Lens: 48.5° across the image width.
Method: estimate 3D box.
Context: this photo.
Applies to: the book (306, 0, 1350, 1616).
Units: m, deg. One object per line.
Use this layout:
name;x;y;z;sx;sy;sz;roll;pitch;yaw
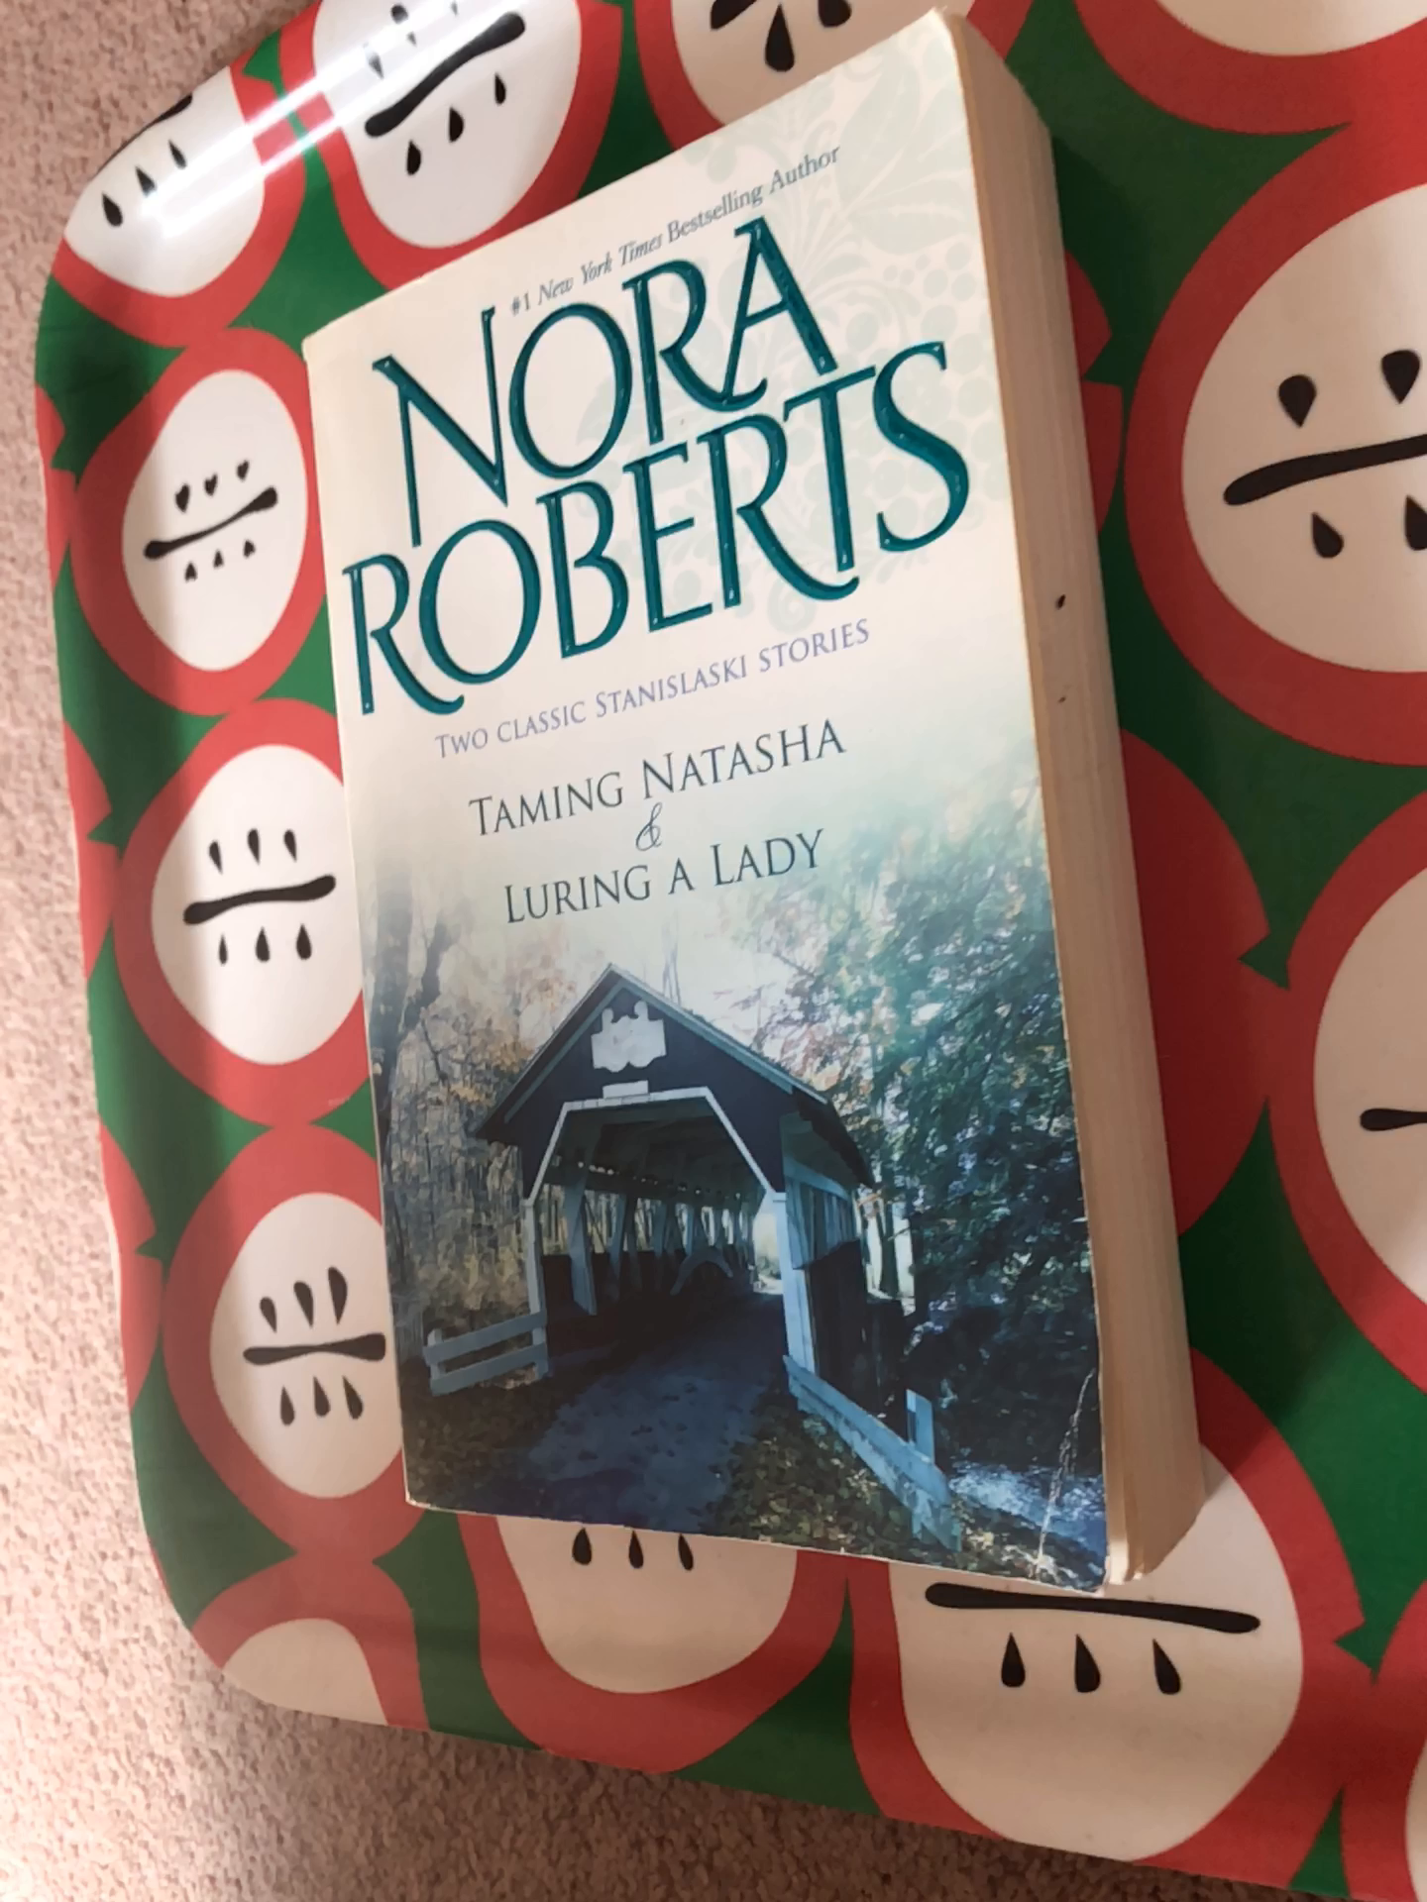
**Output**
book;0.008;-0.023;0.250;0.141;0.040;0.220;-8;87;36
